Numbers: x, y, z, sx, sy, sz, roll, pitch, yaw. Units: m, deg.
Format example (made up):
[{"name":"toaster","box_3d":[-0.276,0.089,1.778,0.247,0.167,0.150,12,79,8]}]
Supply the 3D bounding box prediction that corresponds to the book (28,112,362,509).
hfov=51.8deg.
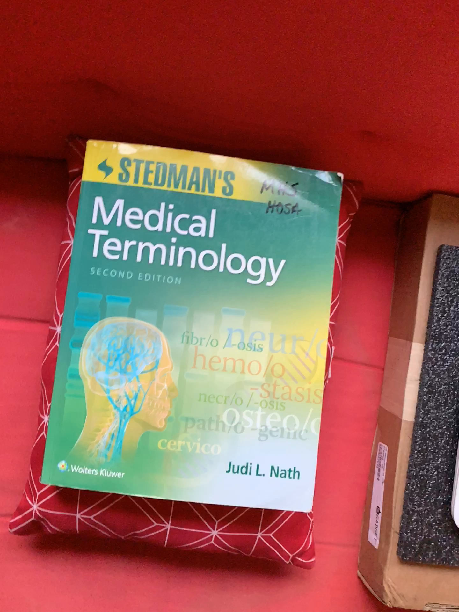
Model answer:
[{"name":"book","box_3d":[-0.023,0.006,0.409,0.240,0.040,0.300,7,86,-5]}]
